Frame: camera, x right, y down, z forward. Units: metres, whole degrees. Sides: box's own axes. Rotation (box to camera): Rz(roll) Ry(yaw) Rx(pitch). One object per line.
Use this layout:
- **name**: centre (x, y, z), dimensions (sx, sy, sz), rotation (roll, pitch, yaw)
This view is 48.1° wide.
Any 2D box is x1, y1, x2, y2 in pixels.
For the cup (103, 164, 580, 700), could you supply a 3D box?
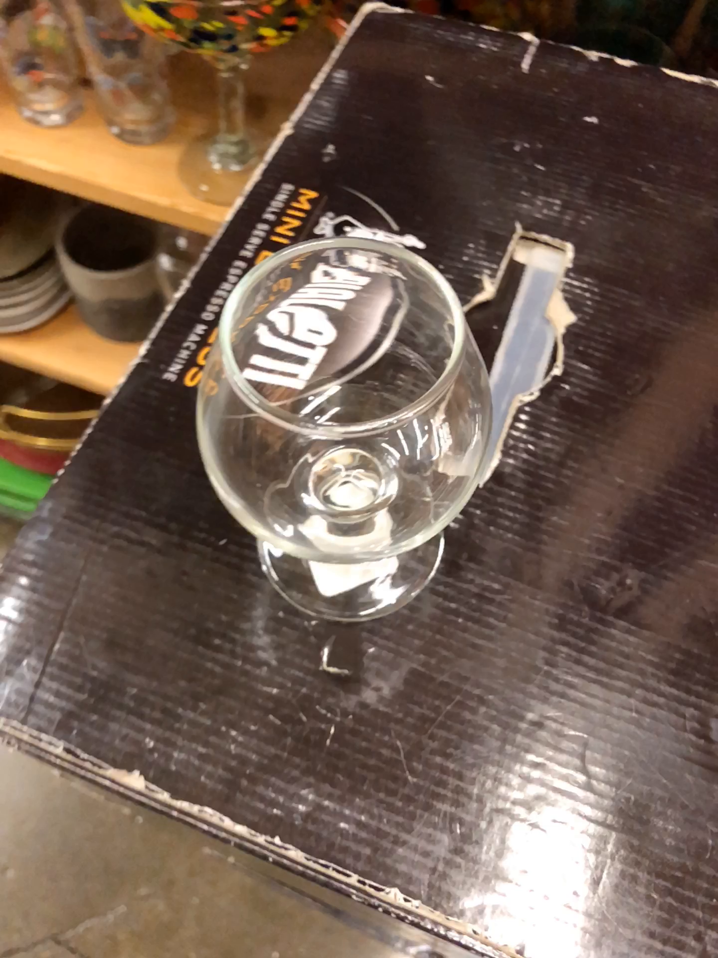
- **cup**: centre (-0.003, -0.004, 0.208), dimensions (0.069, 0.106, 0.071), rotation (1, 62, -2)
